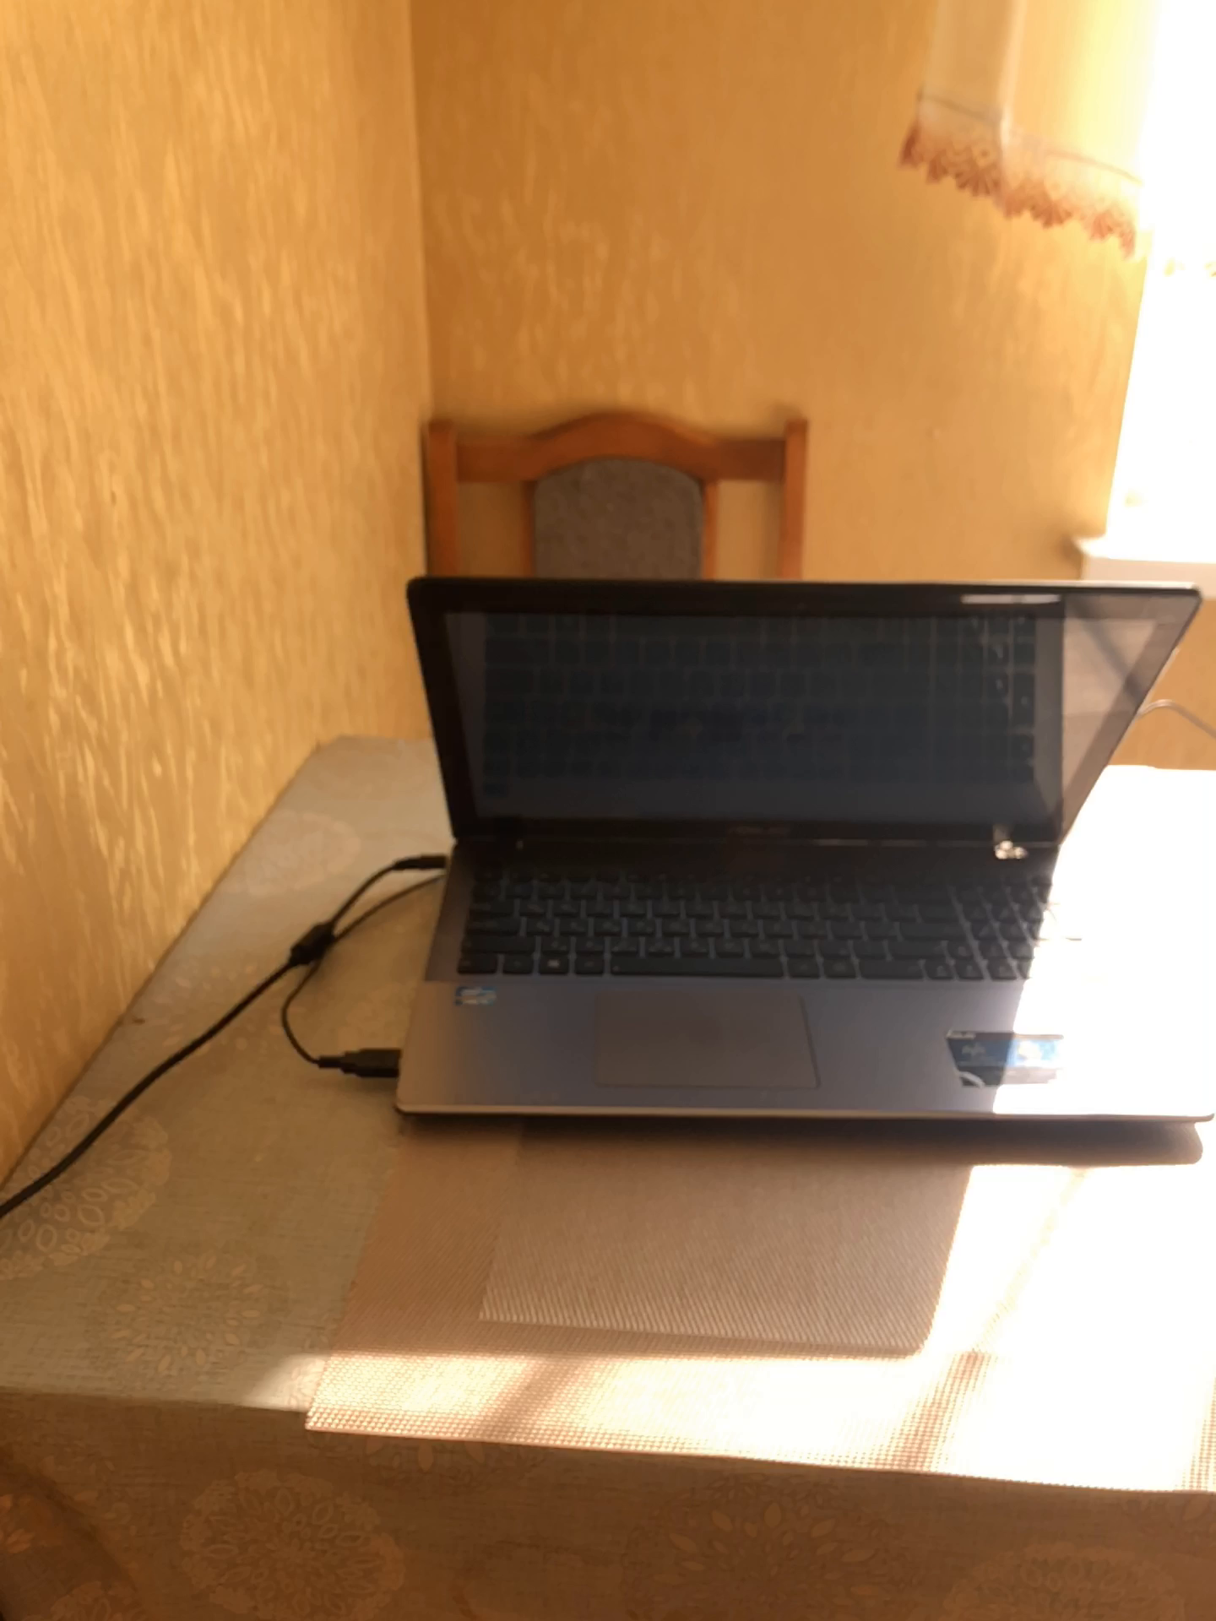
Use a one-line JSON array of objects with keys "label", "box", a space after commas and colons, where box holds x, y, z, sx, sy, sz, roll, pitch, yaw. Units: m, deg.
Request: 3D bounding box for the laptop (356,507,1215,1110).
[{"label": "laptop", "box": [0.087, -0.016, 0.652, 0.362, 0.200, 0.245, 0, 26, 0]}]
